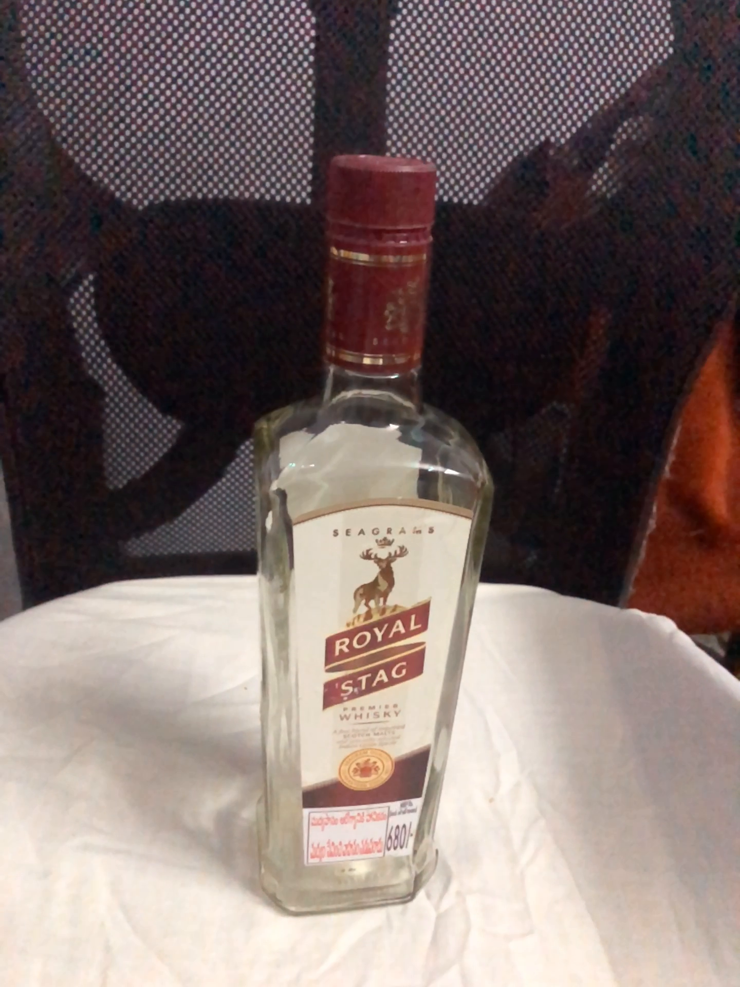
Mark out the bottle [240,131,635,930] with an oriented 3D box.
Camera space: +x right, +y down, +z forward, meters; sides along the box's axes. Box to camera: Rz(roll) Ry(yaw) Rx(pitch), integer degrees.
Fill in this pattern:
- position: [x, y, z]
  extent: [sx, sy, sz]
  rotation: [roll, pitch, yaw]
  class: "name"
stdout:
- position: [0.003, 0.033, 0.285]
  extent: [0.090, 0.279, 0.060]
  rotation: [1, 29, -9]
  class: "bottle"
